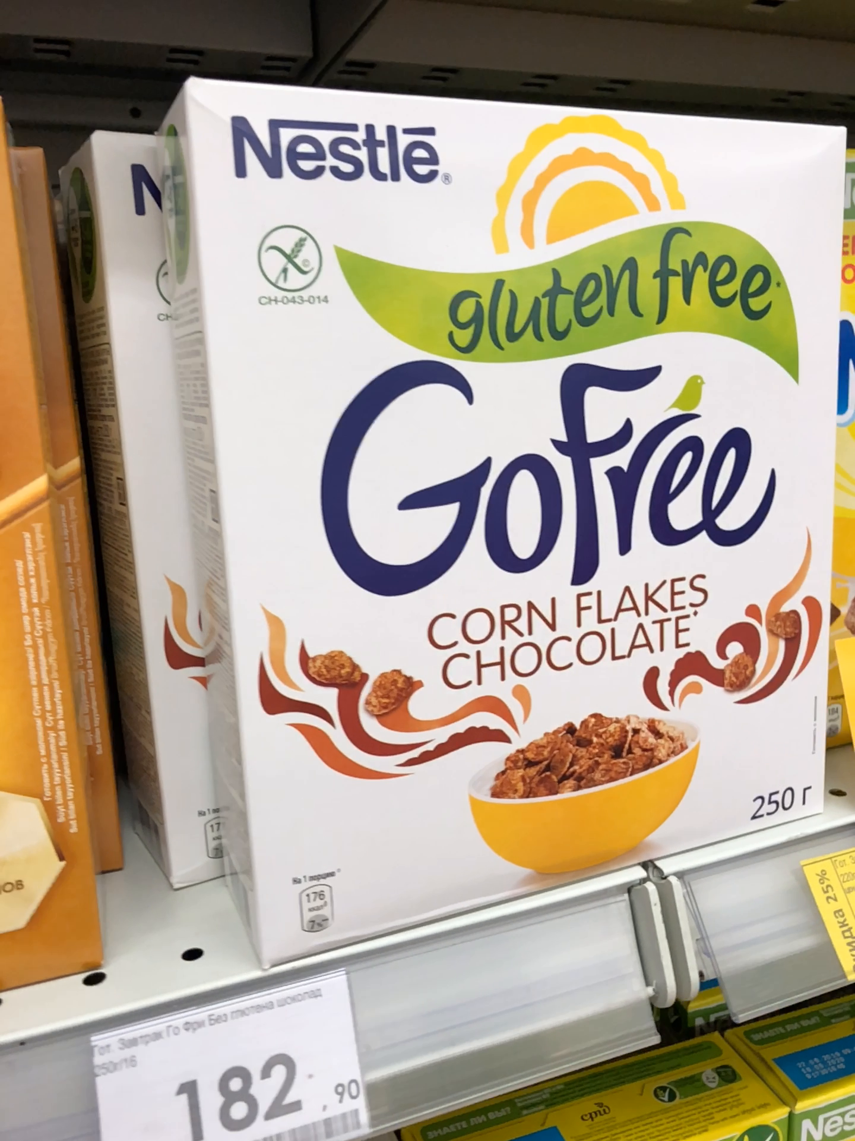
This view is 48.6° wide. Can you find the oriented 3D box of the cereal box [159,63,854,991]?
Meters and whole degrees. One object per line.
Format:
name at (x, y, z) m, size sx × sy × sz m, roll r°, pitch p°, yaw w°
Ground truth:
cereal box at (0.036, -0.016, 0.280) m, size 0.200 × 0.219 × 0.050 m, roll -6°, pitch 11°, yaw -20°
